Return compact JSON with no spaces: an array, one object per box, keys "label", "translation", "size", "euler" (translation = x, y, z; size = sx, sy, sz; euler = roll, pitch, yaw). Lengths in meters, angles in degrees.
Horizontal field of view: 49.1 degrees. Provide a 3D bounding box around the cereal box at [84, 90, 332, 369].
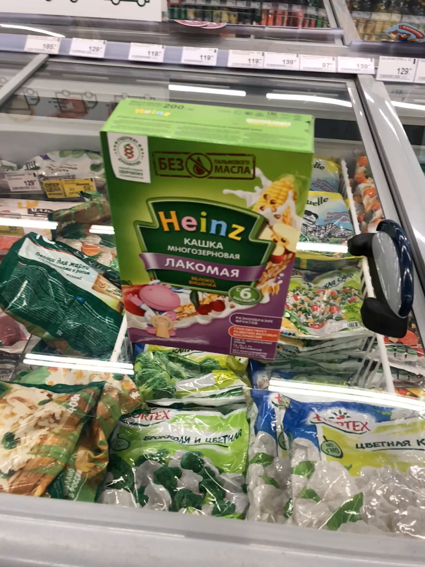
[{"label":"cereal box","translation":[-0.003,-0.027,0.345],"size":[0.140,0.199,0.050],"euler":[7,43,5]}]
